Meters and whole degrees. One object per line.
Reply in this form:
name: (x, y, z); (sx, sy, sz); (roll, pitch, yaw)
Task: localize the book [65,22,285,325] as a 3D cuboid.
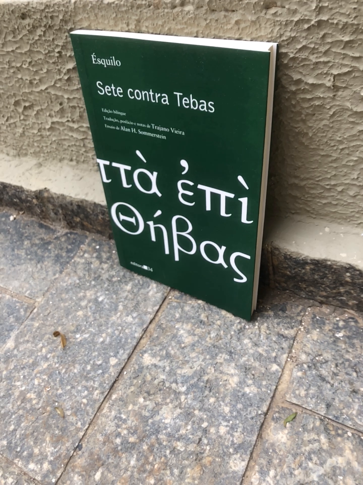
book: (-0.005, -0.043, 0.287); (0.140, 0.195, 0.020); (19, 42, 30)
